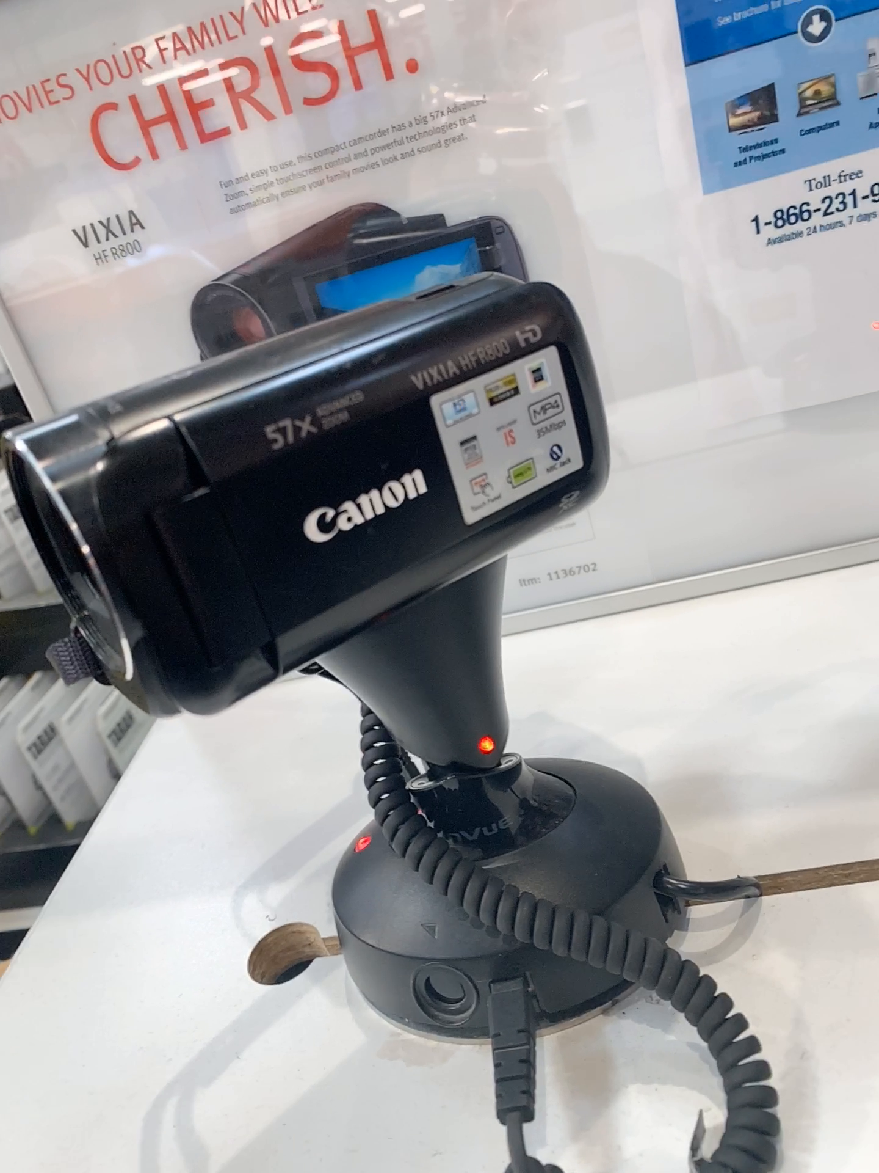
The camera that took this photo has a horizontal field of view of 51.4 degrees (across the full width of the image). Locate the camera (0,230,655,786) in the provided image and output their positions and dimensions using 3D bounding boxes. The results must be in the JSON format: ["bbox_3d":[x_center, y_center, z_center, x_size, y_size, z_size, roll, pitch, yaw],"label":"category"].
[{"bbox_3d":[-0.023,-0.024,0.180,0.125,0.050,0.050,-30,27,-26],"label":"camera"}]
